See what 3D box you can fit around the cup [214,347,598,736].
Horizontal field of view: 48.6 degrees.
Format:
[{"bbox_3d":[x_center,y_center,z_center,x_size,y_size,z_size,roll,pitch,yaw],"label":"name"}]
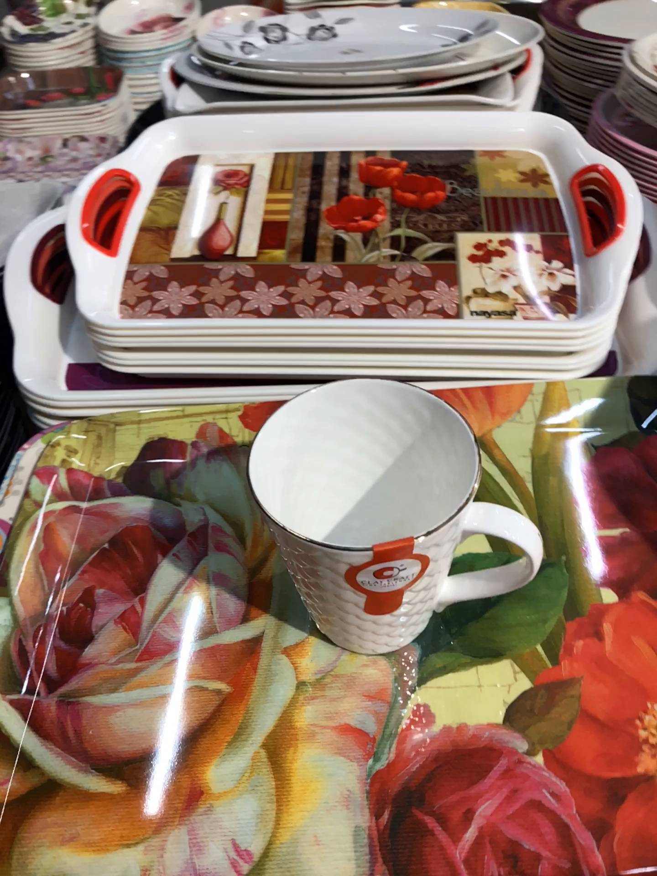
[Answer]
[{"bbox_3d":[0.036,0.037,0.299,0.120,0.089,0.101,11,44,16],"label":"cup"}]
